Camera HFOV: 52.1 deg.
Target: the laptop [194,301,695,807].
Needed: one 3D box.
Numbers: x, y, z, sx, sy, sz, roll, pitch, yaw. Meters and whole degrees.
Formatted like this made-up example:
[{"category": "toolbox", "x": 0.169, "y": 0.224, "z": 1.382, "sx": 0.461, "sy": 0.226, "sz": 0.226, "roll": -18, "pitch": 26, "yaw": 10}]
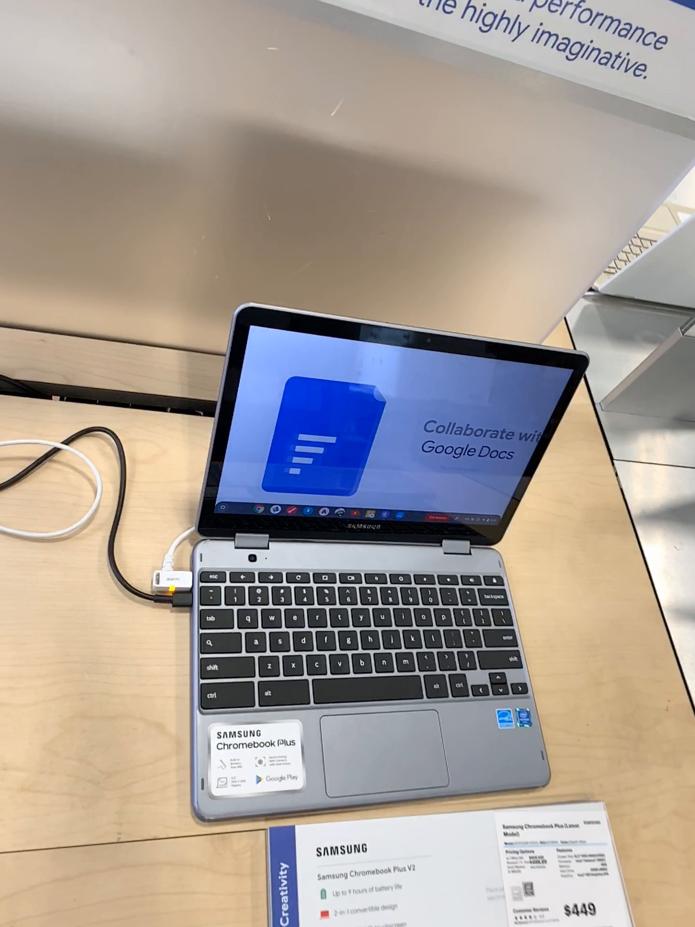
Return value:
[{"category": "laptop", "x": 0.045, "y": 0.071, "z": 0.513, "sx": 0.274, "sy": 0.183, "sz": 0.275, "roll": 4, "pitch": 59, "yaw": -20}]
